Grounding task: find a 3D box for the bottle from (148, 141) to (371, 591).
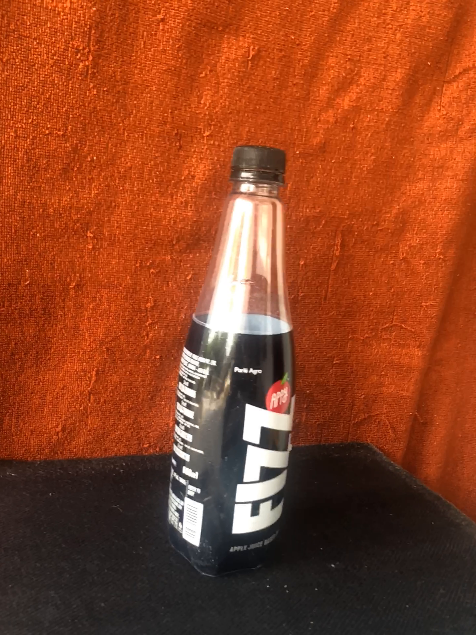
[{"bbox_3d":[0.008,0.023,0.292,0.070,0.219,0.060,-3,16,-44],"label":"bottle"}]
